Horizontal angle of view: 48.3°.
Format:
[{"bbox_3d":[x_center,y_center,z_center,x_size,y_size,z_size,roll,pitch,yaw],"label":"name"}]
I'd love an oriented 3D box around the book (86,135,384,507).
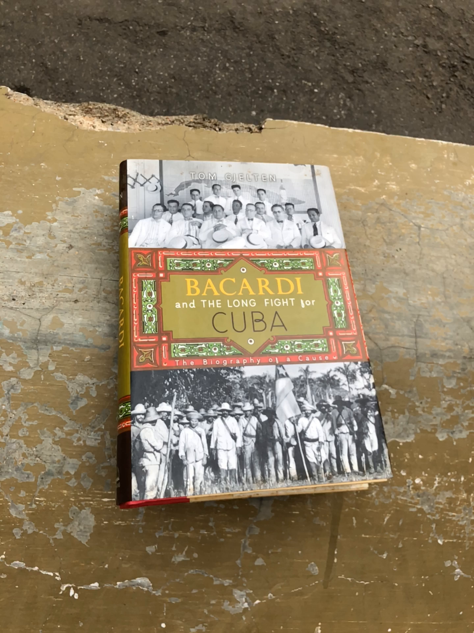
[{"bbox_3d":[-0.011,-0.007,0.370,0.170,0.050,0.250,0,66,-11],"label":"book"}]
